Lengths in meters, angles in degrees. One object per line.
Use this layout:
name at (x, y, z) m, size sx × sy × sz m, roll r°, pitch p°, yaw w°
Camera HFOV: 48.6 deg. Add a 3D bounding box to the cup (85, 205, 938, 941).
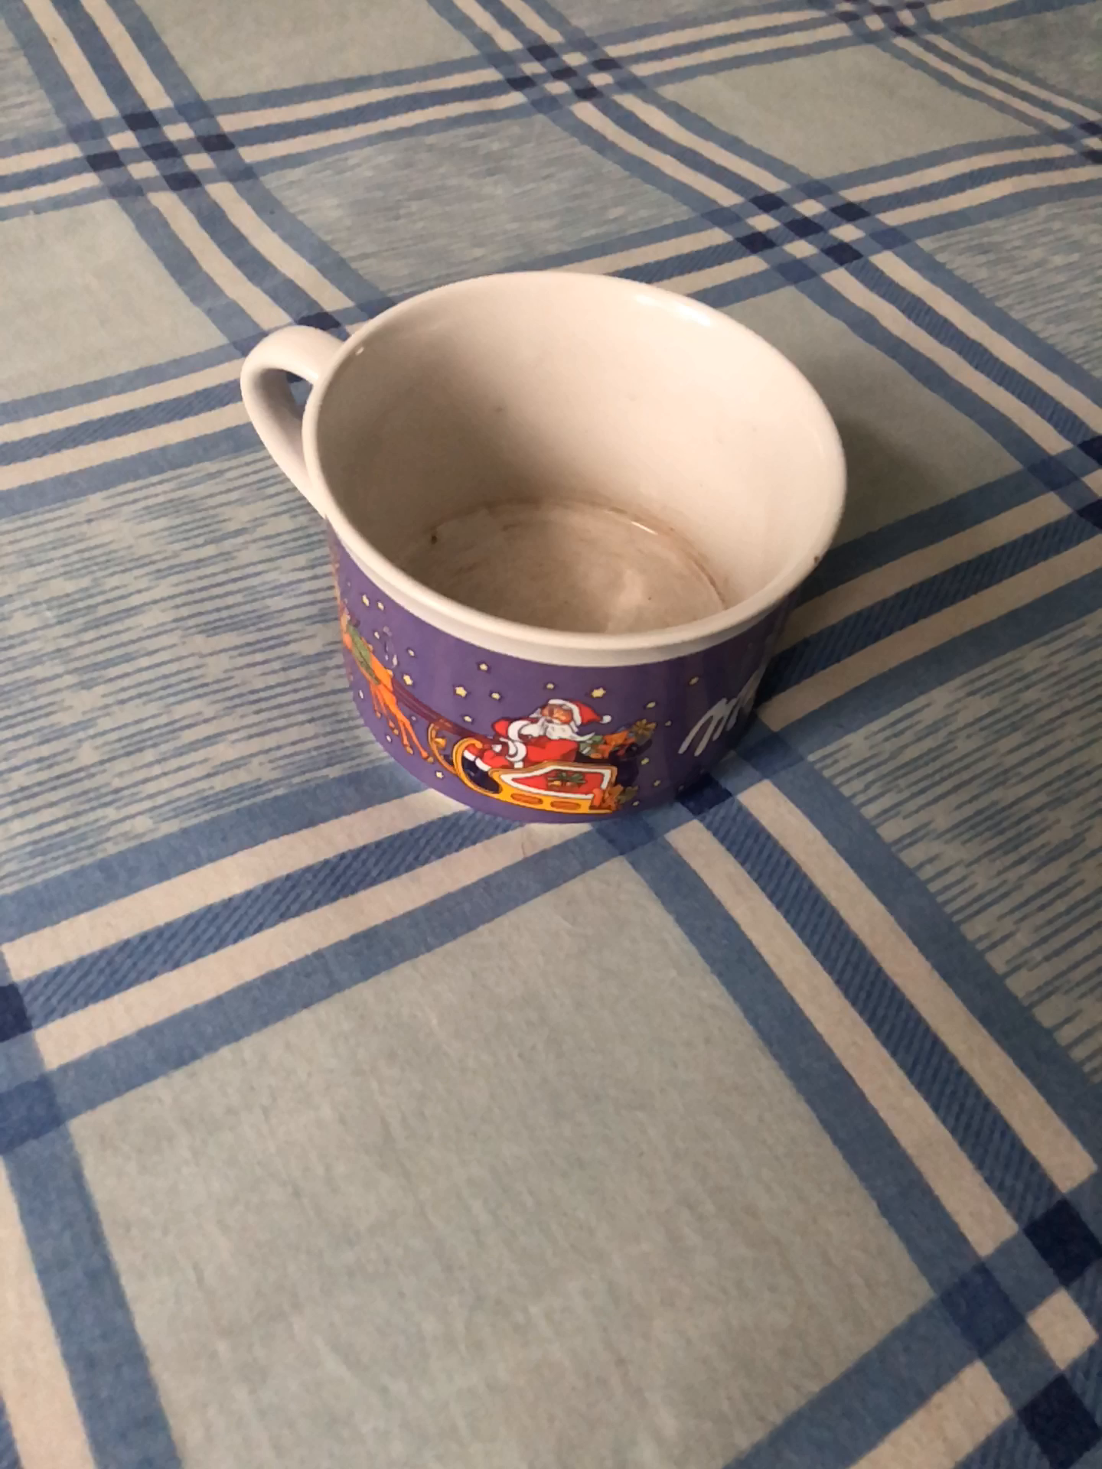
cup at (-0.006, -0.042, 0.261) m, size 0.130 × 0.063 × 0.105 m, roll 27°, pitch 53°, yaw 16°
